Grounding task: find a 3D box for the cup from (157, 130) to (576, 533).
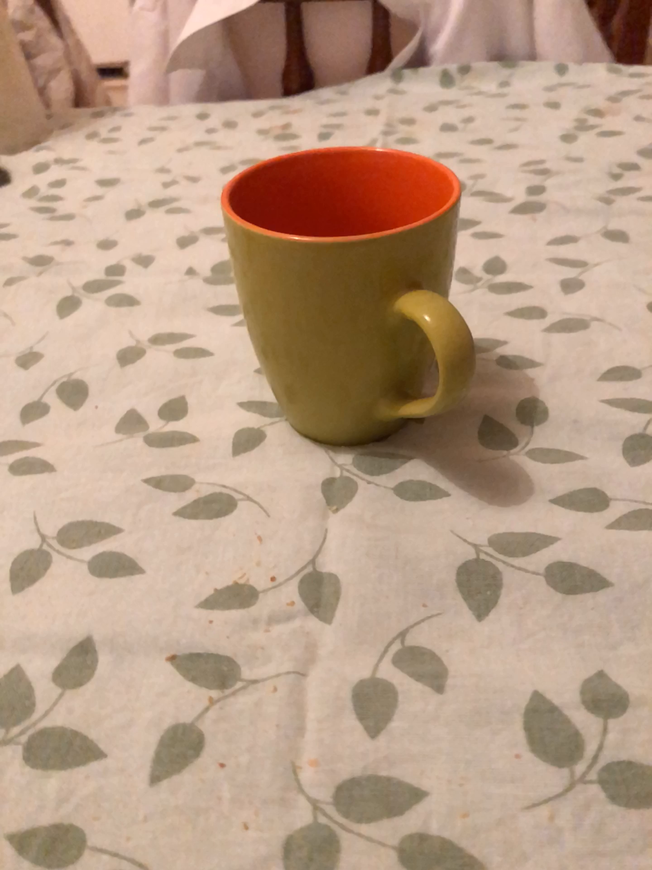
[{"bbox_3d":[0.012,-0.048,0.282,0.090,0.089,0.120,-29,45,-27],"label":"cup"}]
